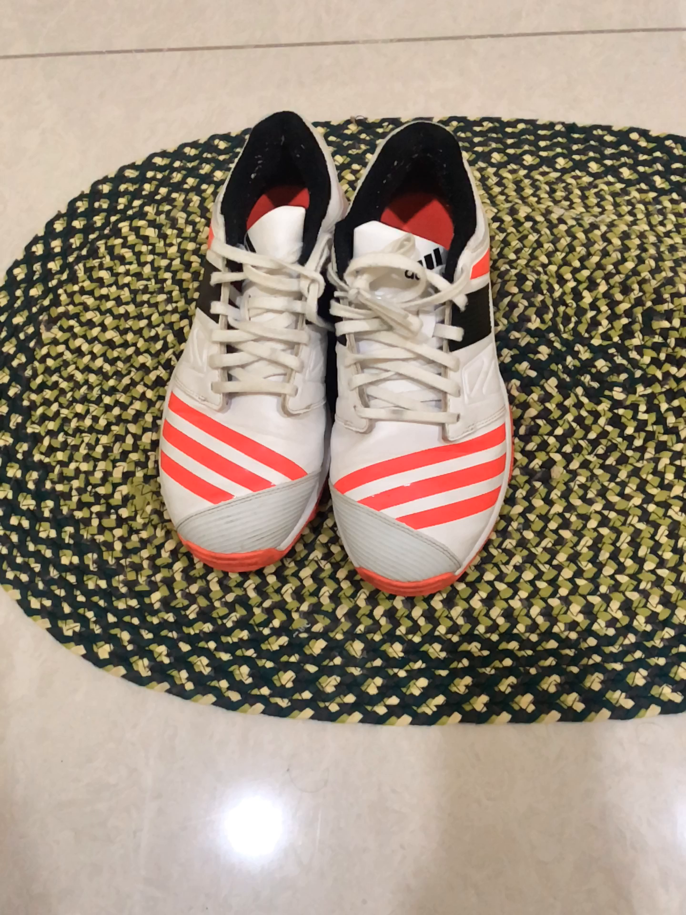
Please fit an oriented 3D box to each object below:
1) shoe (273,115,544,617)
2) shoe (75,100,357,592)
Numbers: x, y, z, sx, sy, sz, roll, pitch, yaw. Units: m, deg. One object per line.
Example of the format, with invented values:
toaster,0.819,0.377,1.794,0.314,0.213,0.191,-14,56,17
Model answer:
shoe,0.042,-0.052,0.420,0.110,0.100,0.250,5,69,6
shoe,-0.059,-0.069,0.447,0.100,0.090,0.270,5,69,6
